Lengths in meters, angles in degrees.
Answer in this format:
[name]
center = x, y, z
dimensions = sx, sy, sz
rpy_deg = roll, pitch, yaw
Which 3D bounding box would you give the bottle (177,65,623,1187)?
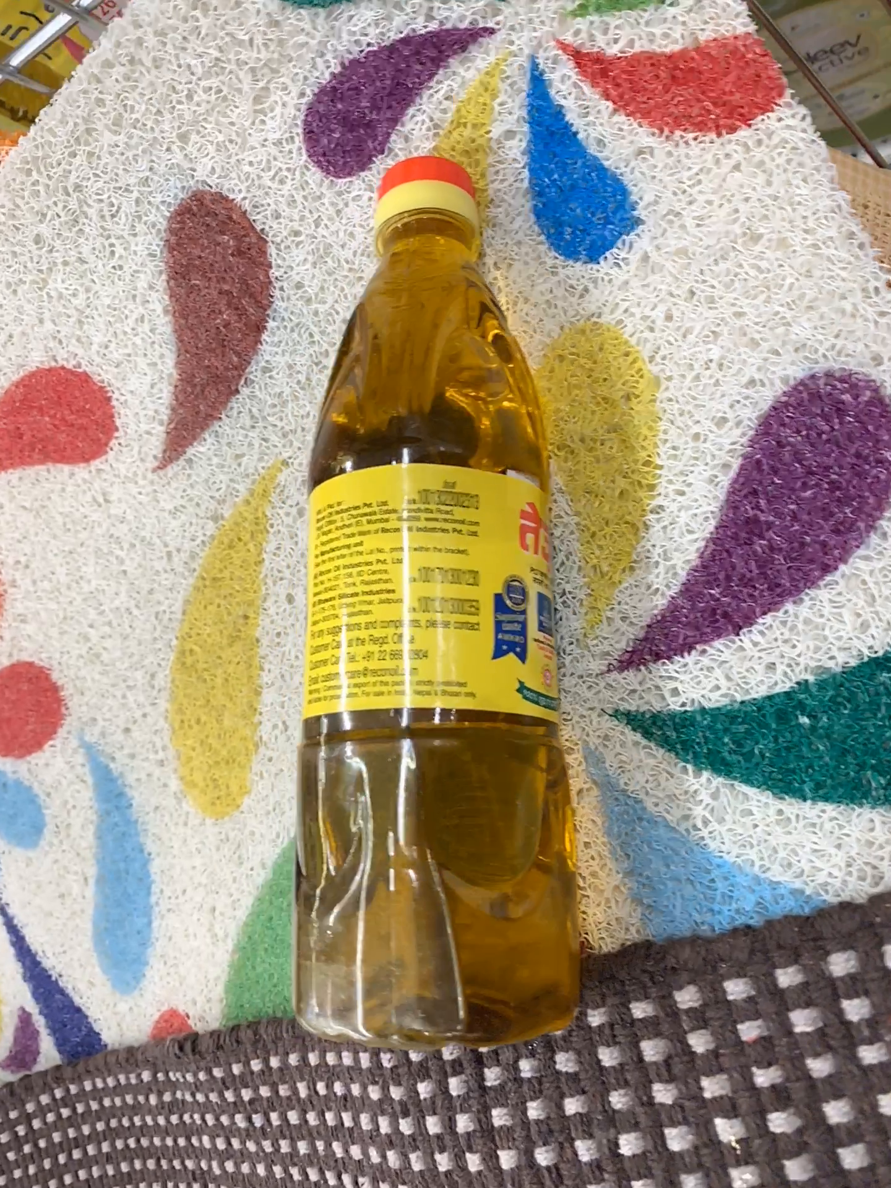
[bottle]
center = -0.009, 0.004, 0.204
dimensions = 0.070, 0.060, 0.200
rpy_deg = -6, 80, 27
